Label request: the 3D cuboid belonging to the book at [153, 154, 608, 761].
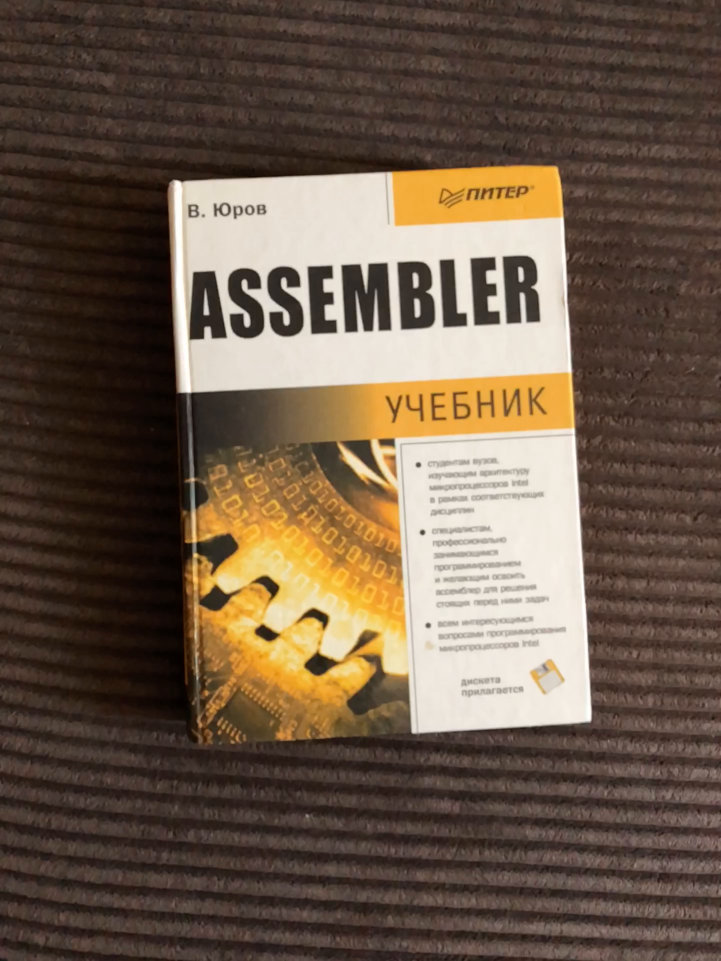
[{"bbox_3d":[0.006,-0.011,0.350,0.170,0.058,0.236,-3,87,-3],"label":"book"}]
